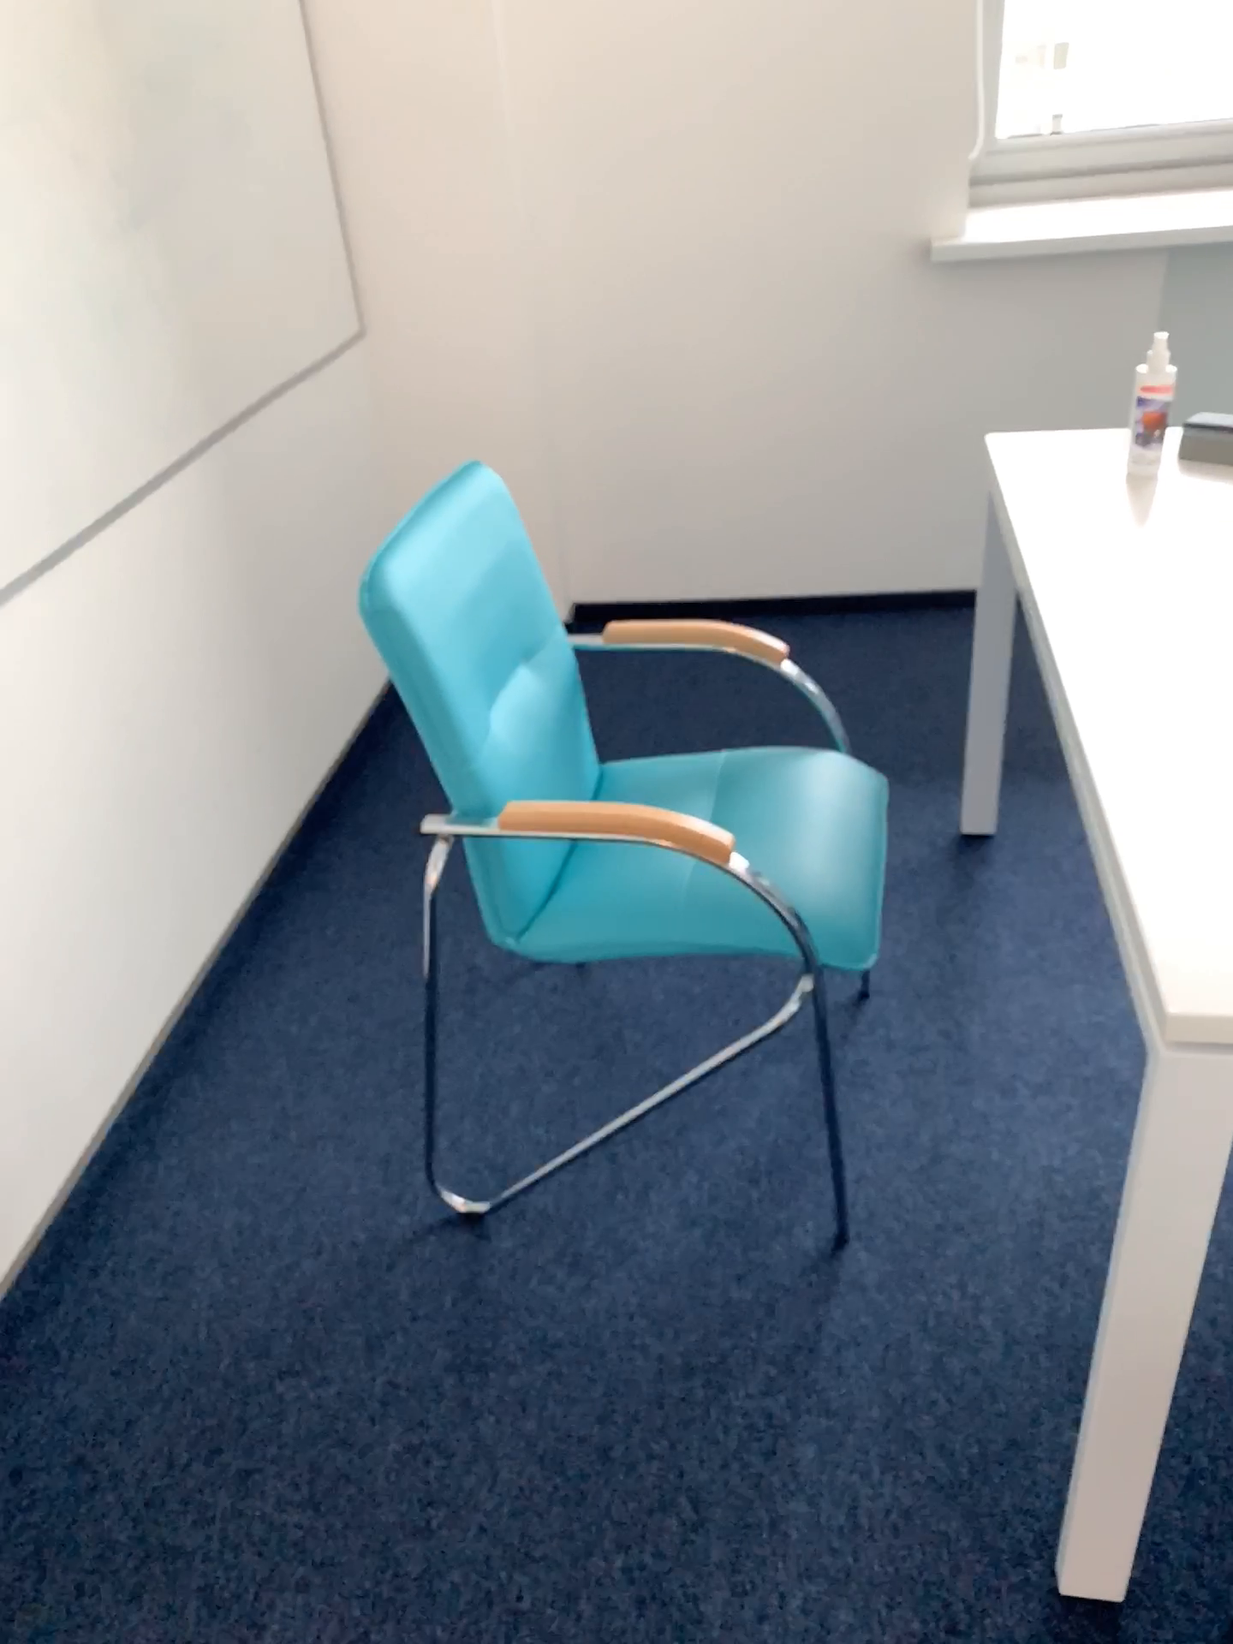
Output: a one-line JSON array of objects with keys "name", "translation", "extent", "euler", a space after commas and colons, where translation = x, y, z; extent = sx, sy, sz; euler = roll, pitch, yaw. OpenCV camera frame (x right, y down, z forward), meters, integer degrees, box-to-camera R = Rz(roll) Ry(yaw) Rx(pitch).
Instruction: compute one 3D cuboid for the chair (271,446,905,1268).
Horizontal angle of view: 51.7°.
[{"name": "chair", "translation": [0.049, 0.036, 1.762], "extent": [0.650, 0.925, 0.583], "euler": [2, 32, 12]}]
